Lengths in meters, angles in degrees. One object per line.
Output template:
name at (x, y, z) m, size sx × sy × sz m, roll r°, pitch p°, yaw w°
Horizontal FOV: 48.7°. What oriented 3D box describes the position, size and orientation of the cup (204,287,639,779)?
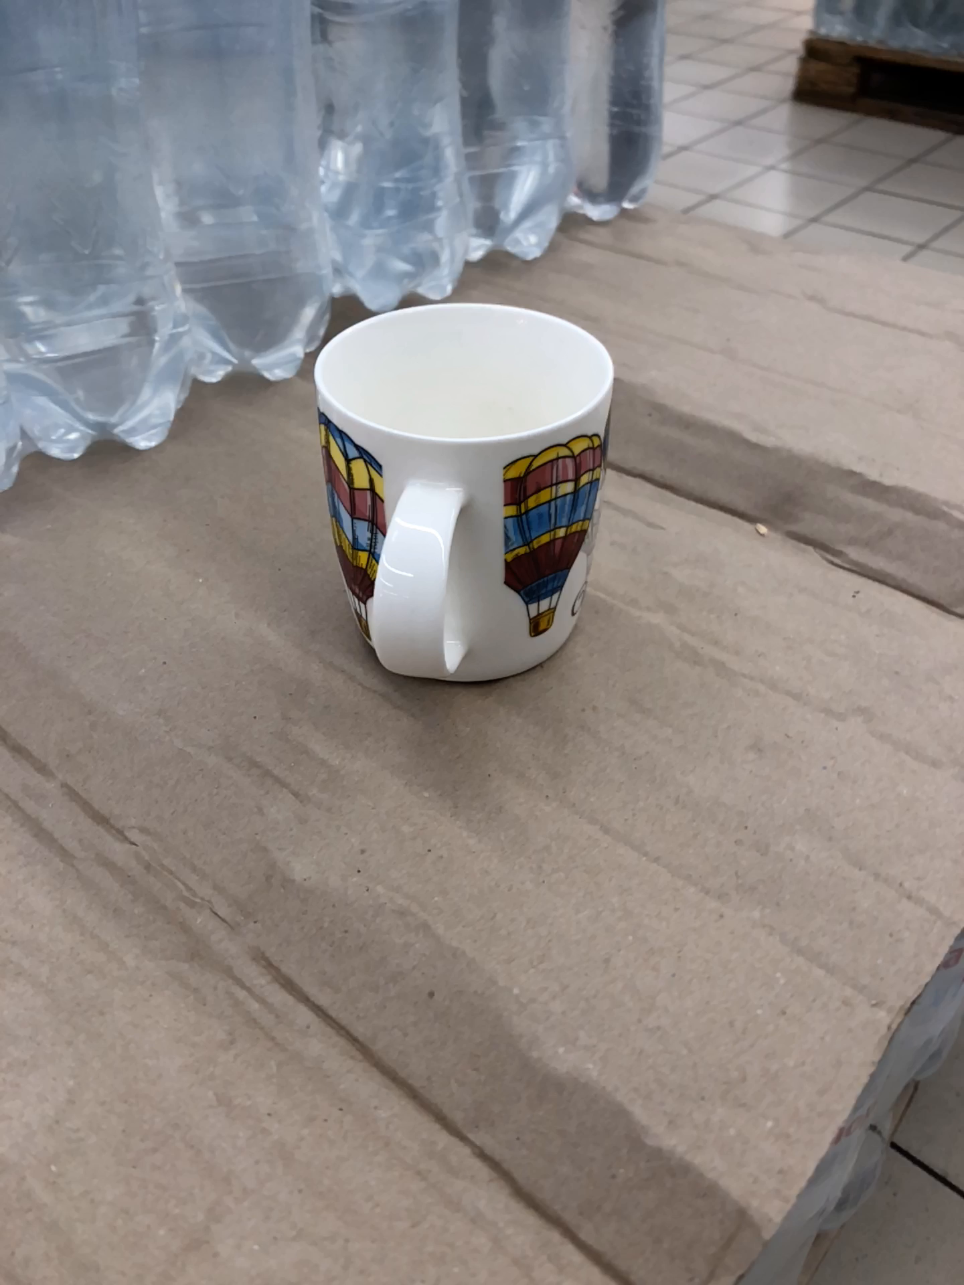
cup at (-0.008, -0.041, 0.330) m, size 0.093 × 0.082 × 0.132 m, roll 7°, pitch 42°, yaw 11°
